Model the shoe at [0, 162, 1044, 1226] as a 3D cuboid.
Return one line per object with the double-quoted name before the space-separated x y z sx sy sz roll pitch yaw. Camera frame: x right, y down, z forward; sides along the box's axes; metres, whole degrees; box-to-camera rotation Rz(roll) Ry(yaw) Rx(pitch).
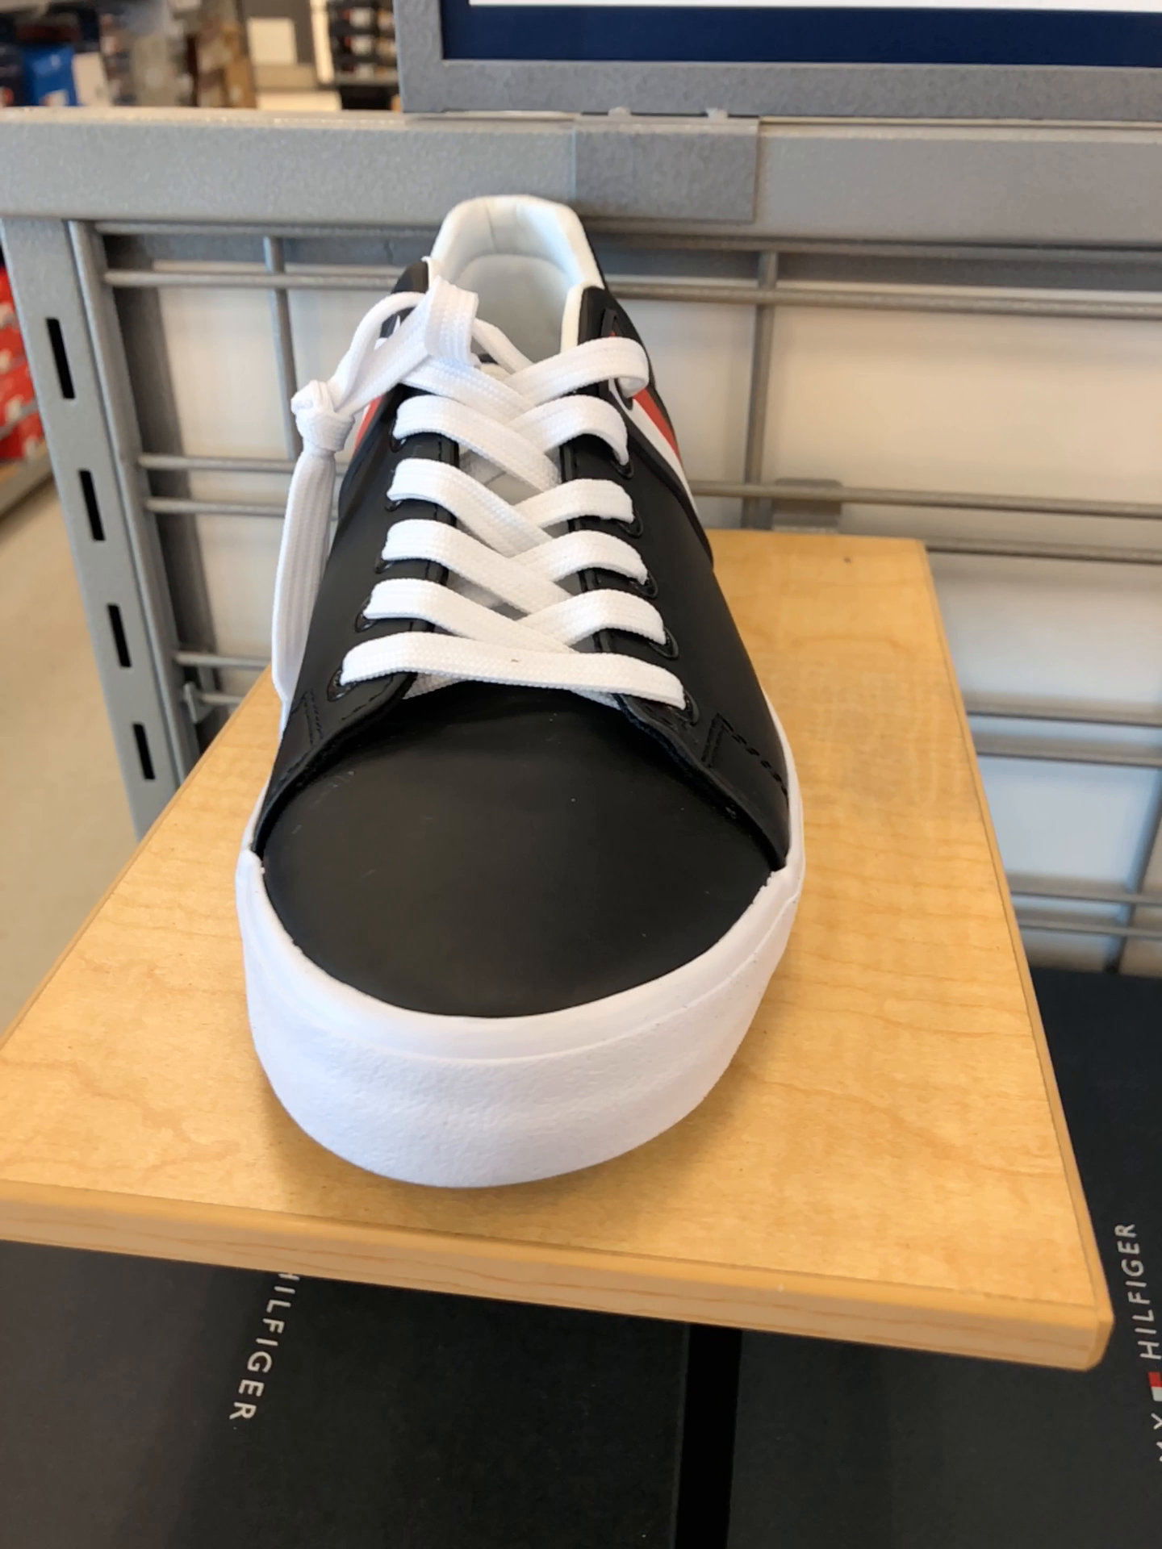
"shoe" -0.007 -0.057 0.271 0.100 0.089 0.292 1 33 -1
